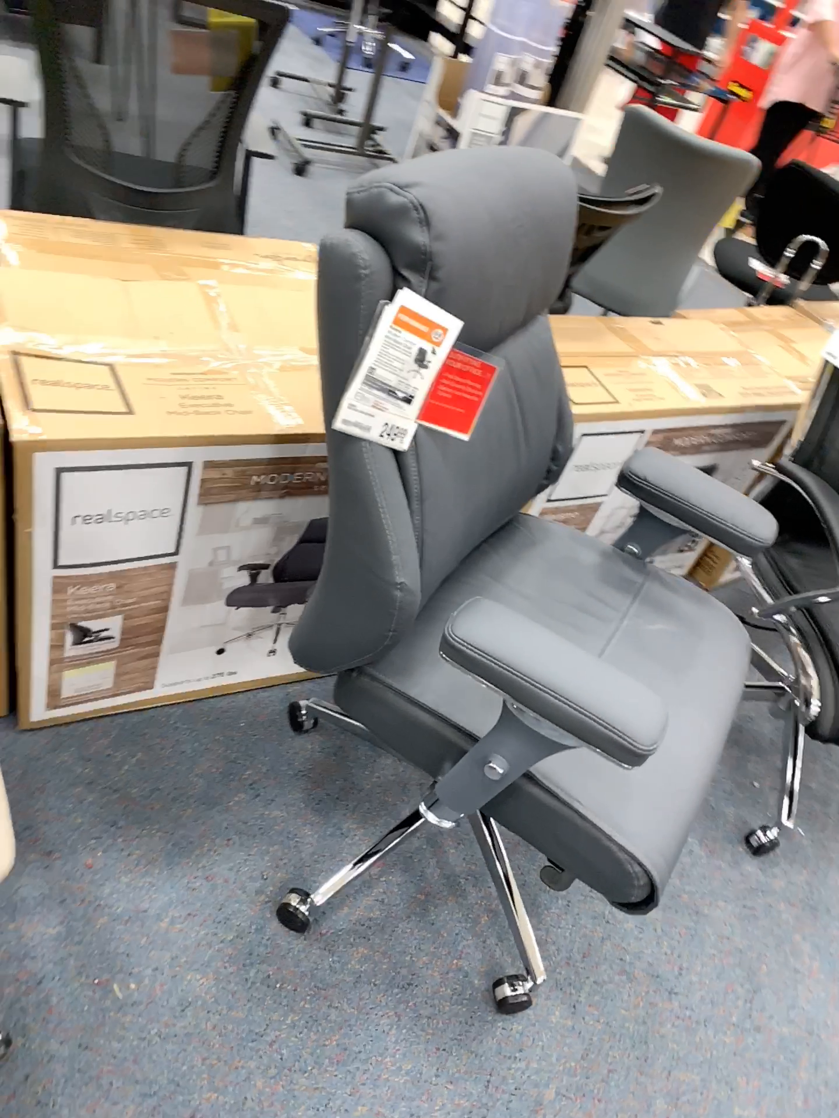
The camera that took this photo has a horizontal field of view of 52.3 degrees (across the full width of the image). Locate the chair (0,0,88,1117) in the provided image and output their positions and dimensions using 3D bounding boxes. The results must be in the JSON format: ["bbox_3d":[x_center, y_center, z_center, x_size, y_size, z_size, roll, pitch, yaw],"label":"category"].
[{"bbox_3d":[-0.769,0.281,0.665,0.786,0.976,0.717,-7,48,-31],"label":"chair"}]

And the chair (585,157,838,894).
[{"bbox_3d":[0.983,-0.001,1.701,0.764,1.095,0.788,11,41,-14],"label":"chair"}]

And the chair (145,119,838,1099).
[{"bbox_3d":[0.177,0.065,1.274,0.694,1.075,0.698,30,36,9],"label":"chair"}]
